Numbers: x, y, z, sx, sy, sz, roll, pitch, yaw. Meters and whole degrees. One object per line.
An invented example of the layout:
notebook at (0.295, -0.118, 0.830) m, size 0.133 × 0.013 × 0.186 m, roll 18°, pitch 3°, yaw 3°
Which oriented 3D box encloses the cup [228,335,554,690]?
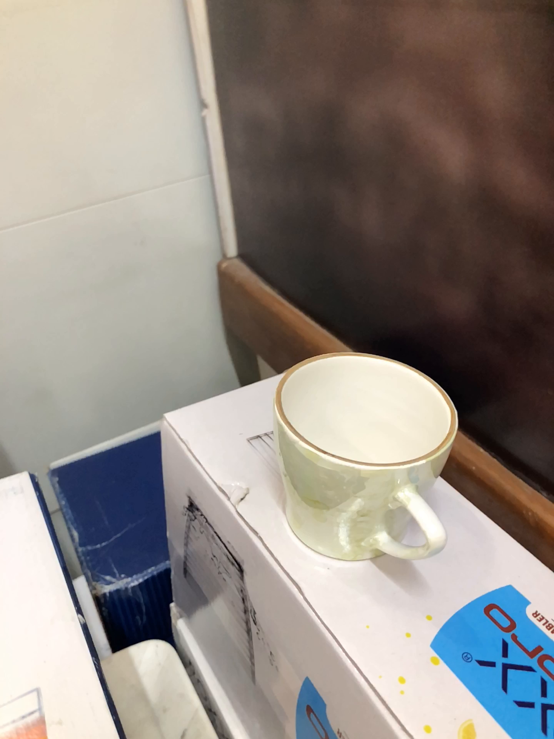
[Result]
cup at (0.038, 0.045, 0.236) m, size 0.070 × 0.060 × 0.100 m, roll -21°, pitch 42°, yaw -28°
